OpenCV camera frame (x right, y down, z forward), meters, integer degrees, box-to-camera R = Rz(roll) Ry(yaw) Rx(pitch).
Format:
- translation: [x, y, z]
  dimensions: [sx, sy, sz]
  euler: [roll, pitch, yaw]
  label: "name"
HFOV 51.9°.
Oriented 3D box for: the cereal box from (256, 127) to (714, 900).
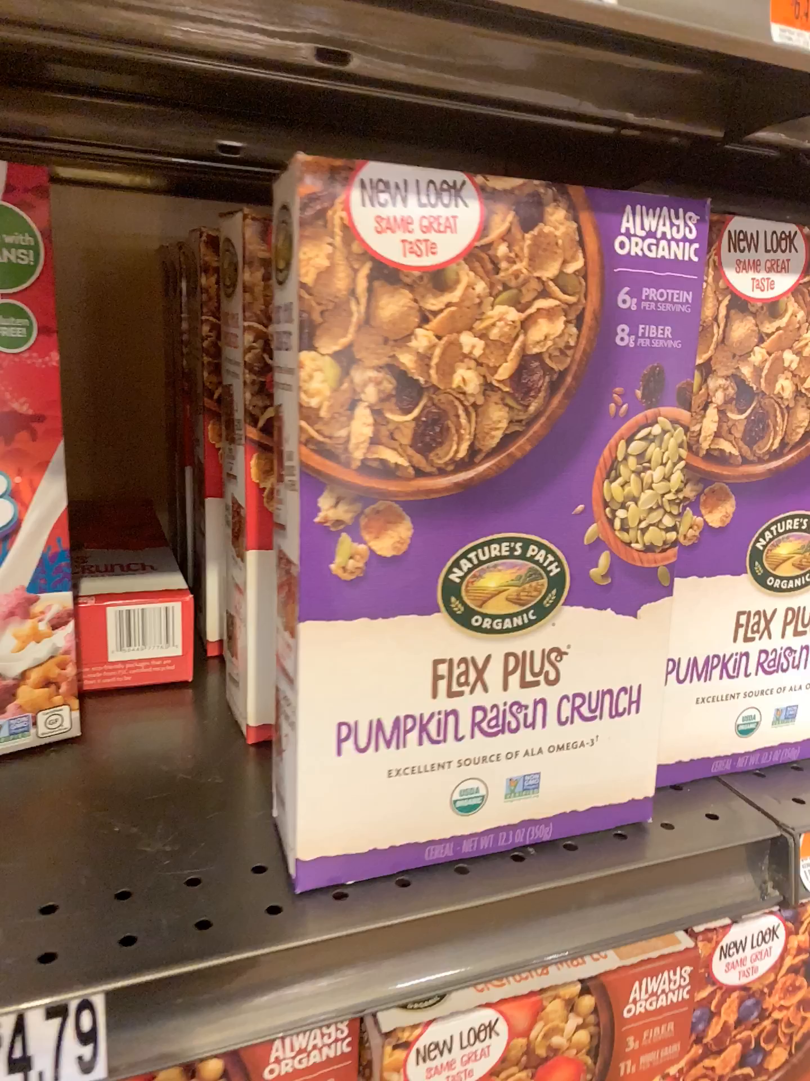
- translation: [0.029, -0.007, 0.341]
  dimensions: [0.170, 0.269, 0.050]
  euler: [-2, 11, -21]
  label: "cereal box"
